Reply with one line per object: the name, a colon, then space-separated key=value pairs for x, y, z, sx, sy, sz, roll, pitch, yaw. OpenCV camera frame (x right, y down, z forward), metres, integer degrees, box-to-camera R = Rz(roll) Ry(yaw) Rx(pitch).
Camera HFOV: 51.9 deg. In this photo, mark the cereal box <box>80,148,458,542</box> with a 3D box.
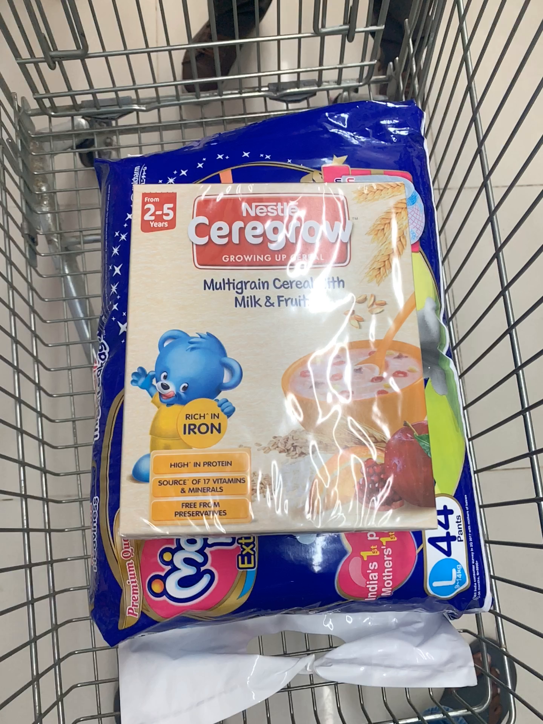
cereal box: x=-0.003 y=-0.011 z=0.285 sx=0.160 sy=0.050 sz=0.190 roll=-1 pitch=75 yaw=-2
